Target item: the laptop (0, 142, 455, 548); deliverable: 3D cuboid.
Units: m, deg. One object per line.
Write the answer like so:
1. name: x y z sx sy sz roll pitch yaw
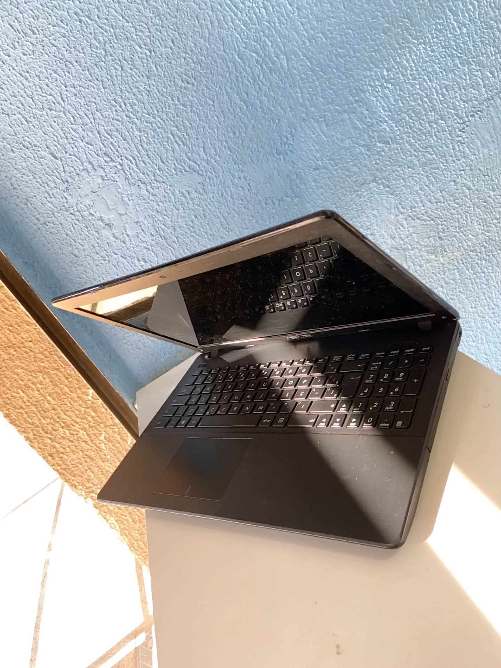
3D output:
1. laptop: -0.035 0.016 0.513 0.373 0.190 0.239 -10 34 41
